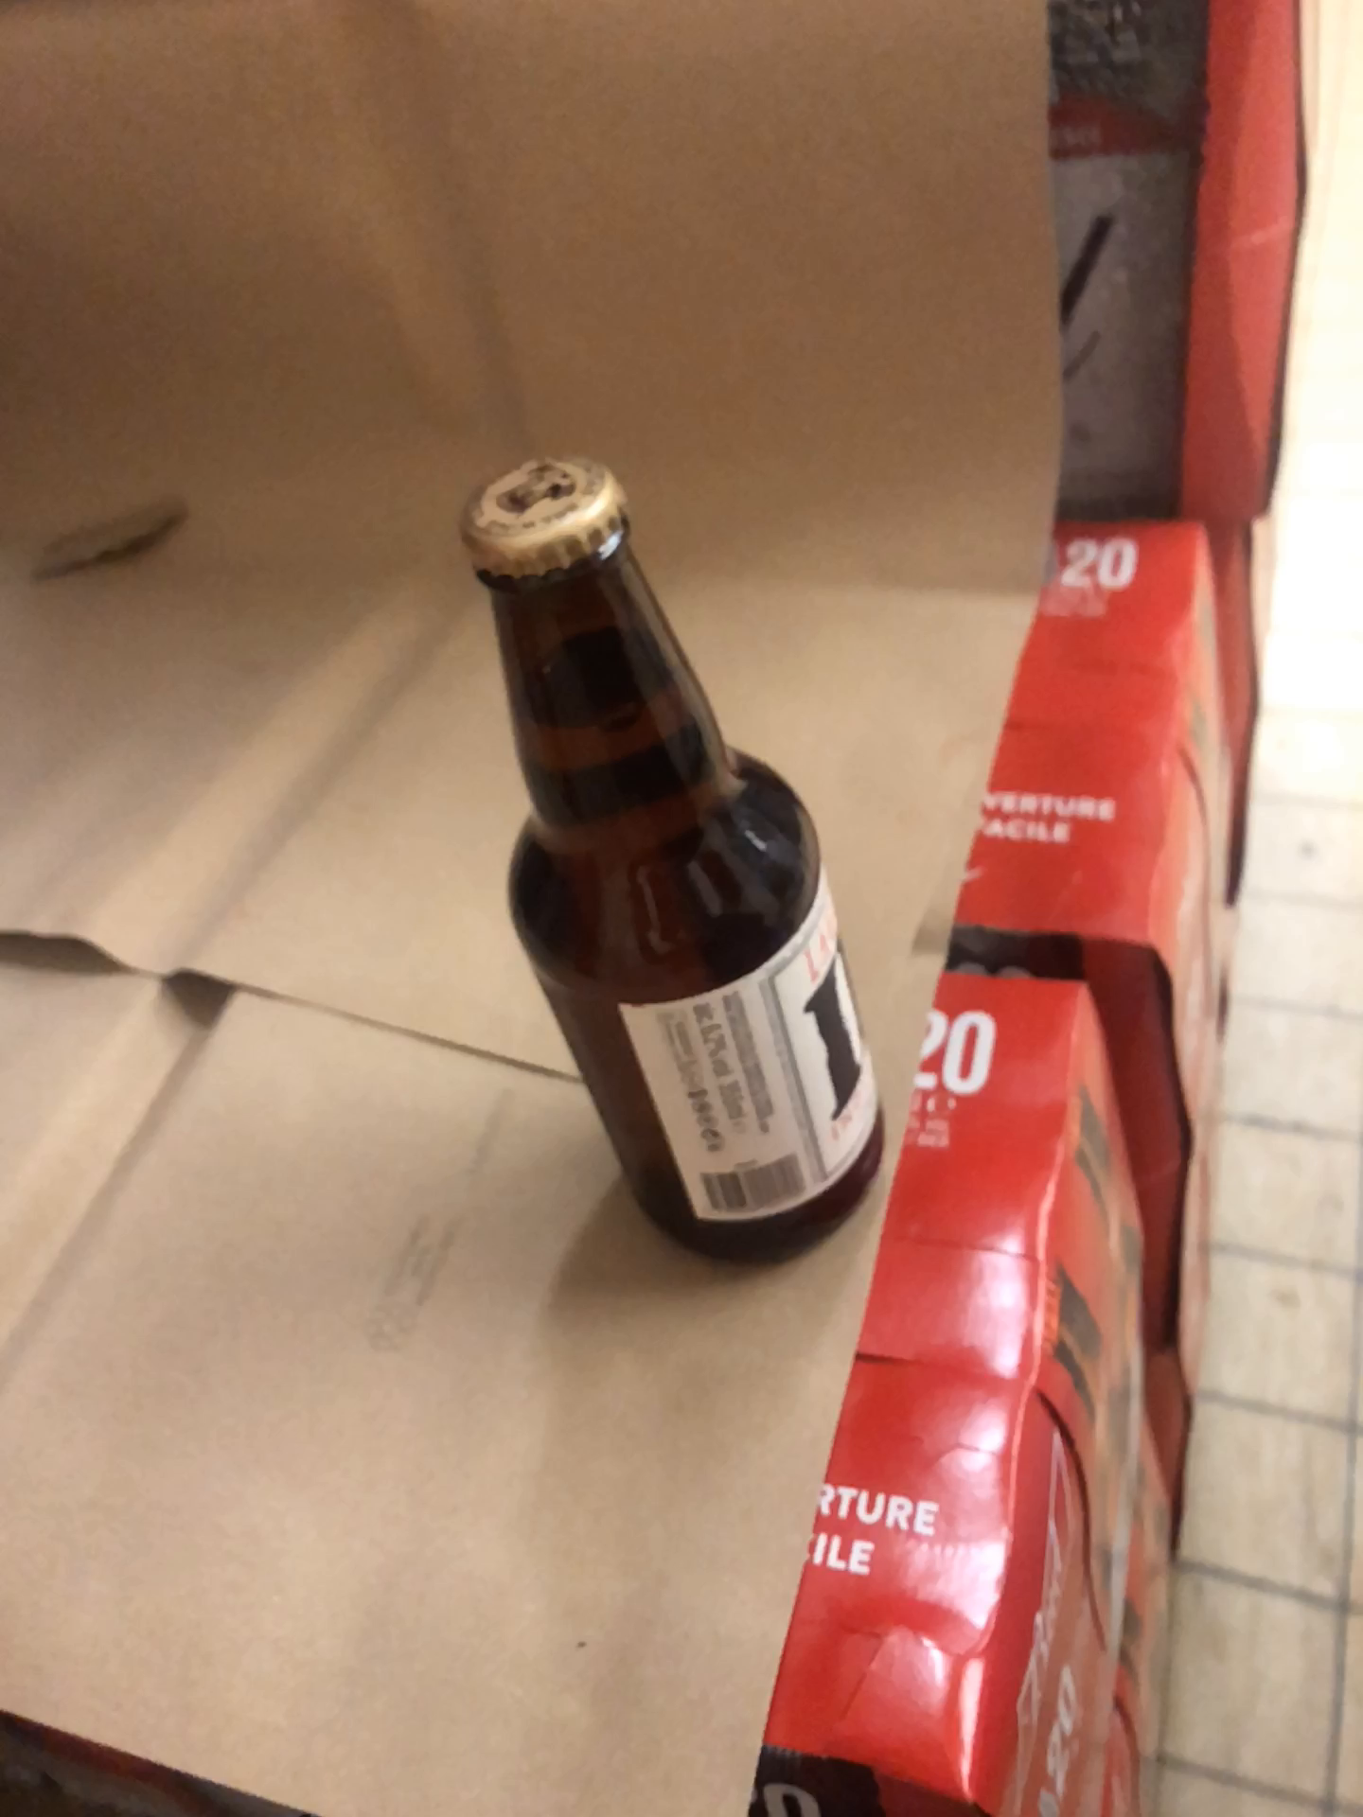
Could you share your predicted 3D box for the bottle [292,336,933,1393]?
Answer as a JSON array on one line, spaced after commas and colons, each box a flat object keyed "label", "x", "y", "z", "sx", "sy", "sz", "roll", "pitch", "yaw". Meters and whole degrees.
[{"label": "bottle", "x": -0.005, "y": 0.005, "z": 0.310, "sx": 0.080, "sy": 0.199, "sz": 0.080, "roll": -7, "pitch": 45, "yaw": 7}]
